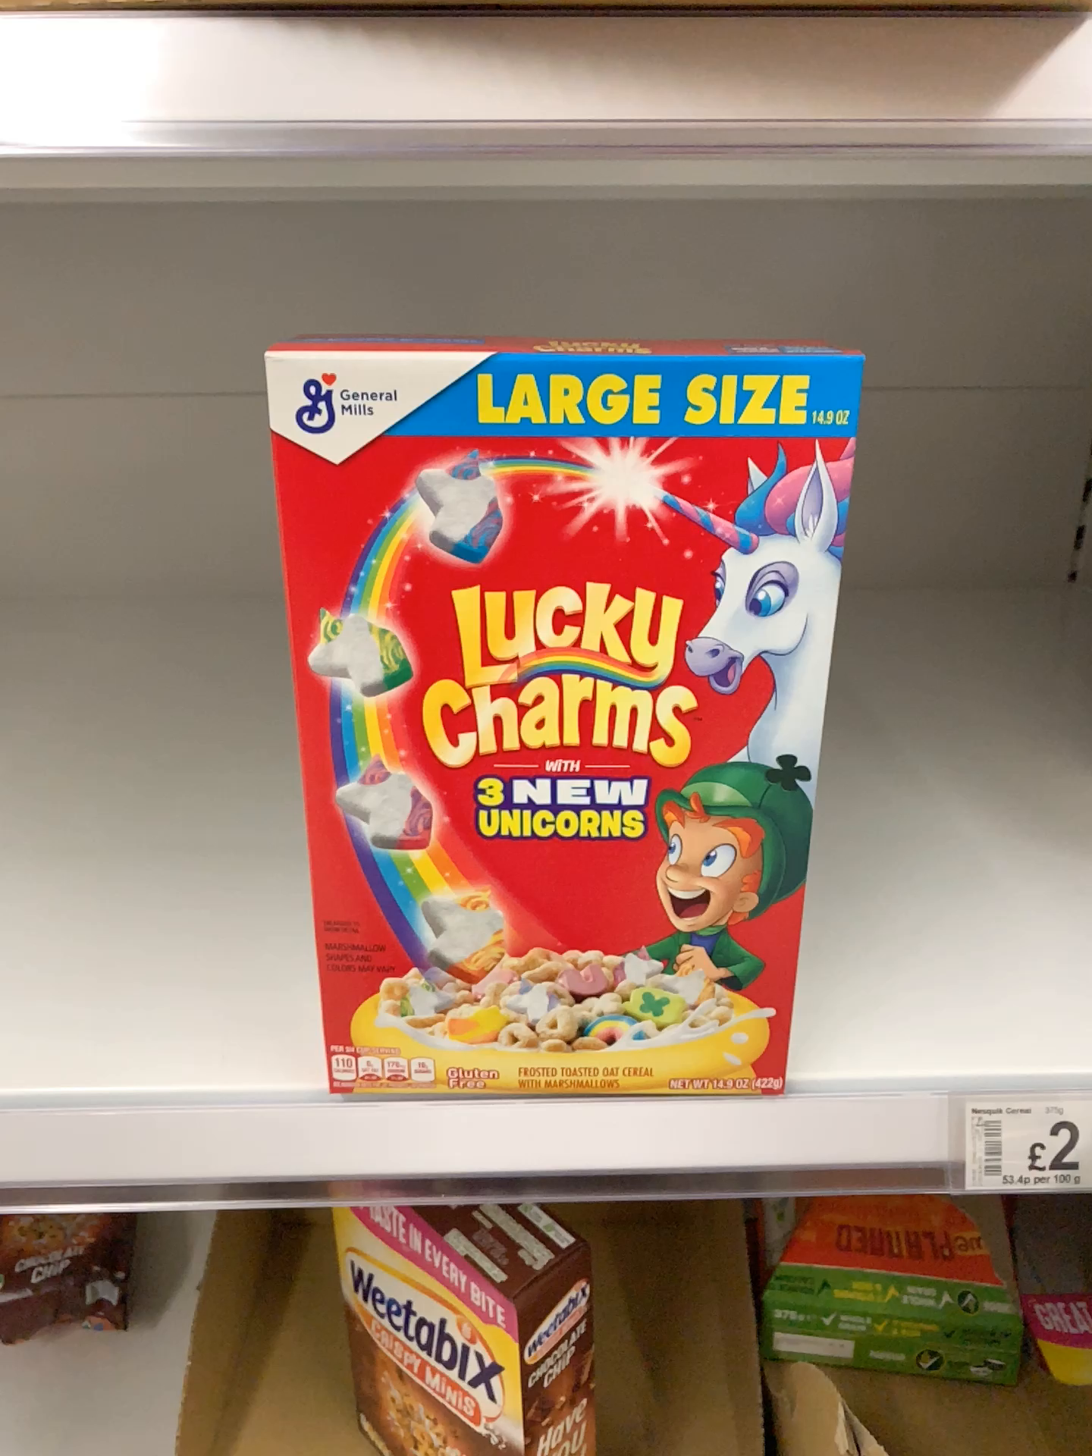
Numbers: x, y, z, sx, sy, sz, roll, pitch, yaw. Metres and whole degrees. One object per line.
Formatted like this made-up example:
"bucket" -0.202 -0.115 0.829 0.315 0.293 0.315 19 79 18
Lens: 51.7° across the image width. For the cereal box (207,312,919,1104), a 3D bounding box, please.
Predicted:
"cereal box" 0.006 0.001 0.420 0.210 0.288 0.071 0 23 0
